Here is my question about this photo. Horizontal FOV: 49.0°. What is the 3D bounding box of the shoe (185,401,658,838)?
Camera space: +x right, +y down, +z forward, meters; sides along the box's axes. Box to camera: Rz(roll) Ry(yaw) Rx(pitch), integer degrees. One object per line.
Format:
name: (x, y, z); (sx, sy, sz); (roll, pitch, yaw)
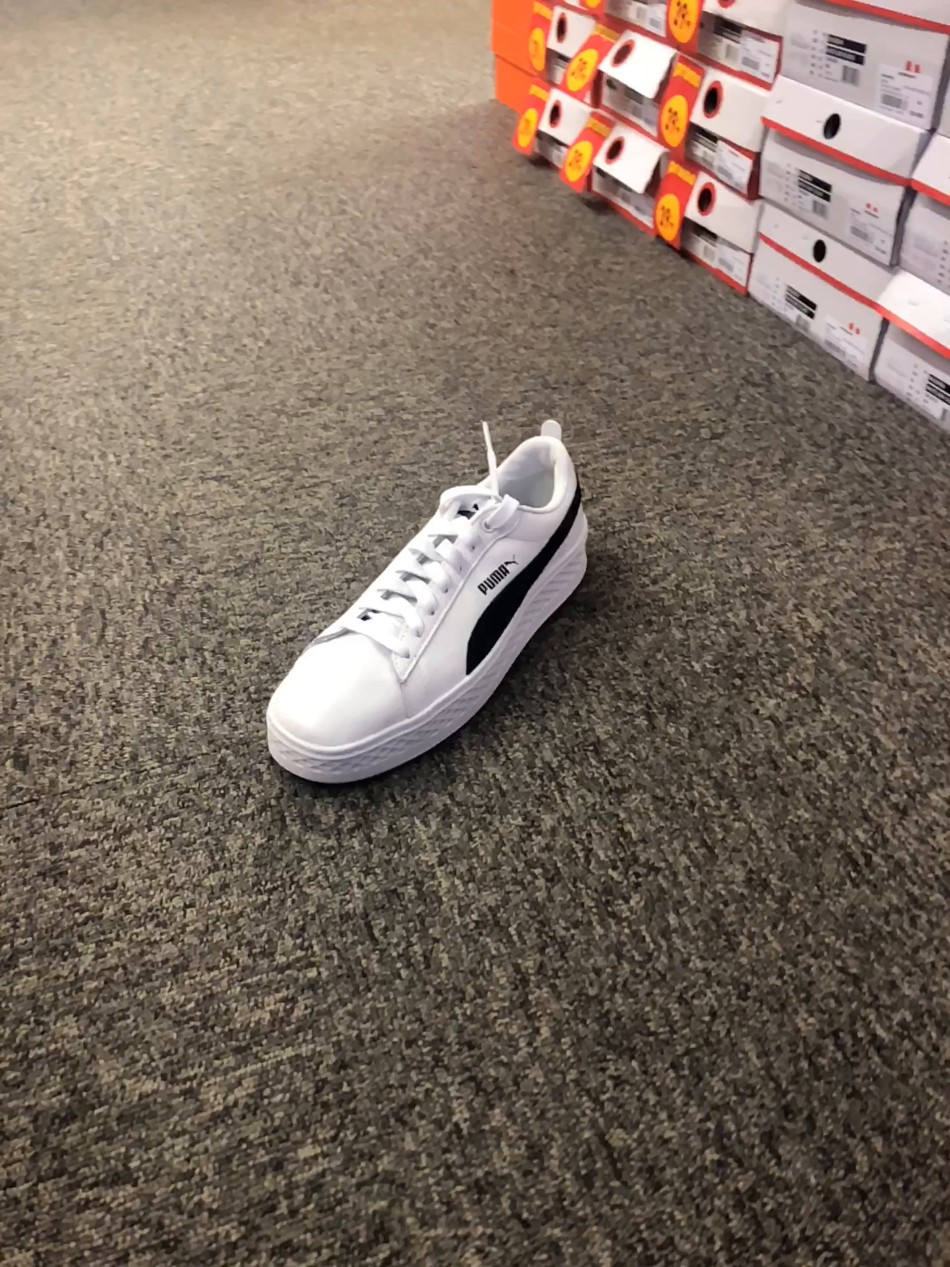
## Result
shoe: (-0.016, -0.025, 0.633); (0.110, 0.089, 0.292); (27, 50, 29)
